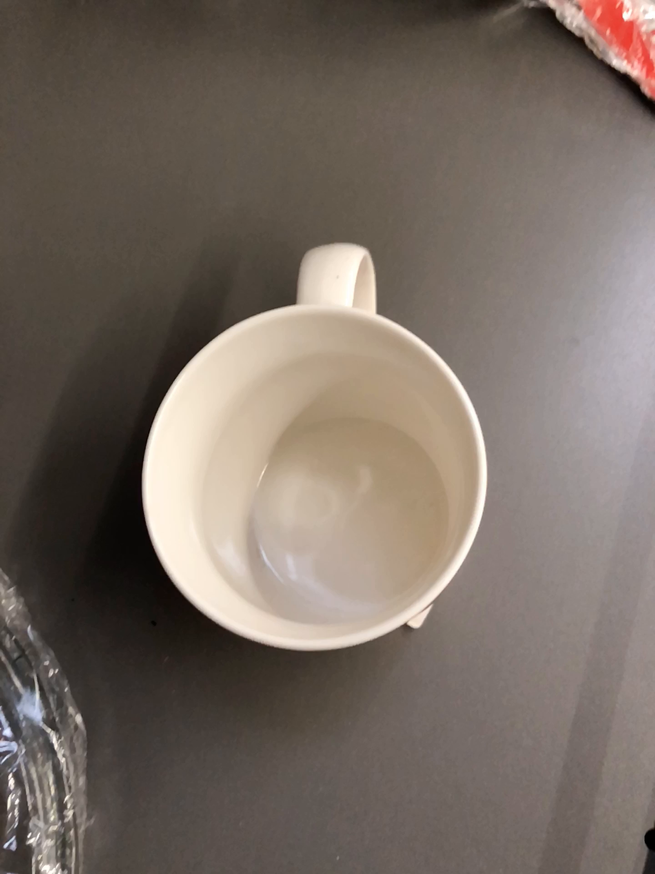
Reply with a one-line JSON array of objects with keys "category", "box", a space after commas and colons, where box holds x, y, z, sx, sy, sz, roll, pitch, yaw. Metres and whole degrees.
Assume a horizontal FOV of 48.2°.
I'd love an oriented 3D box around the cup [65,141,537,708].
[{"category": "cup", "box": [0.000, -0.002, 0.215, 0.090, 0.078, 0.128, 10, 78, 10]}]
